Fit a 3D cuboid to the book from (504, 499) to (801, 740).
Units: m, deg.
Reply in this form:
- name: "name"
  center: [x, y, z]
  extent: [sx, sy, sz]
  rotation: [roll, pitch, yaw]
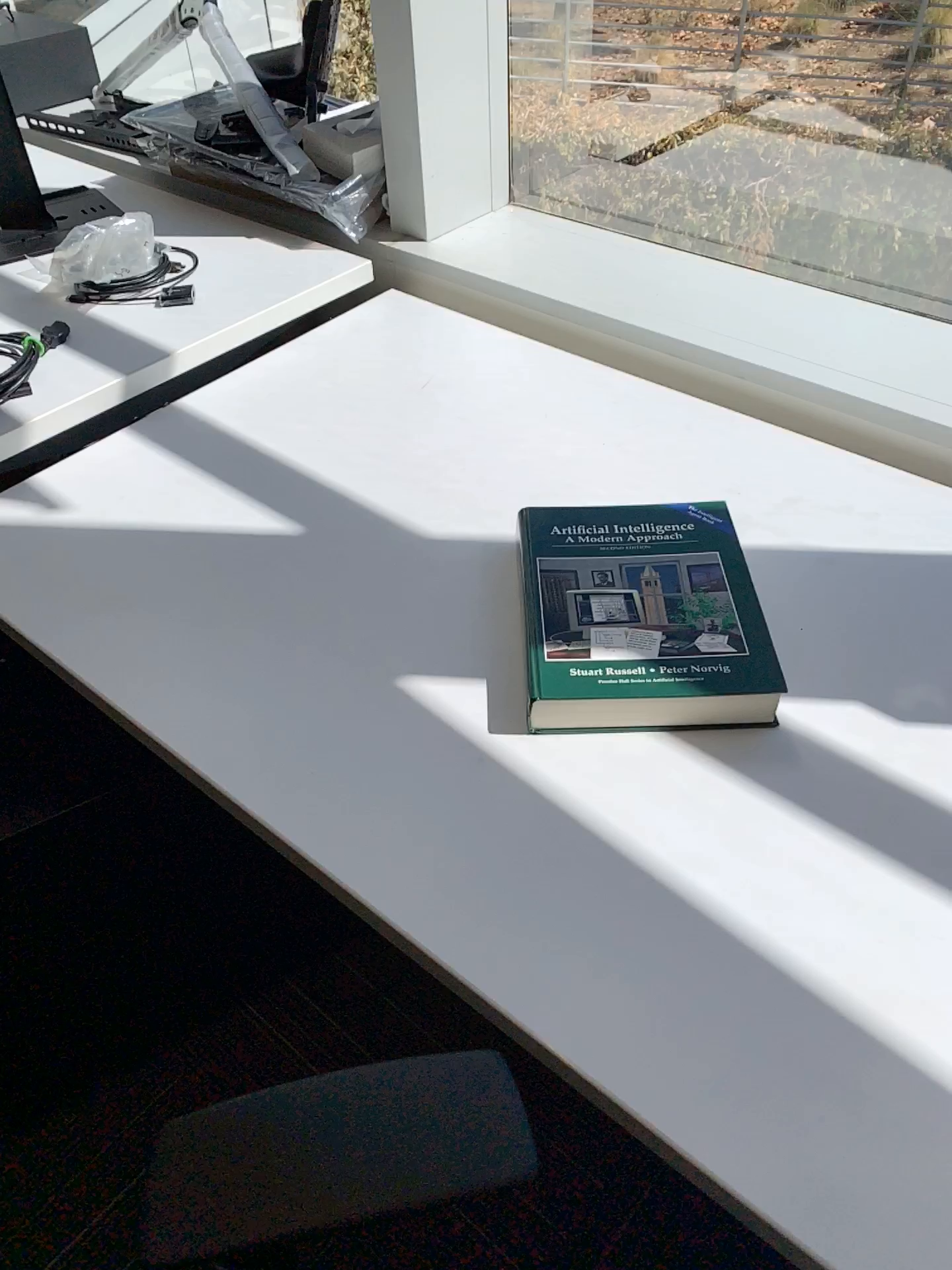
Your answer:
- name: "book"
  center: [0.144, -0.023, 0.888]
  extent: [0.230, 0.050, 0.262]
  rotation: [-1, 44, 1]
